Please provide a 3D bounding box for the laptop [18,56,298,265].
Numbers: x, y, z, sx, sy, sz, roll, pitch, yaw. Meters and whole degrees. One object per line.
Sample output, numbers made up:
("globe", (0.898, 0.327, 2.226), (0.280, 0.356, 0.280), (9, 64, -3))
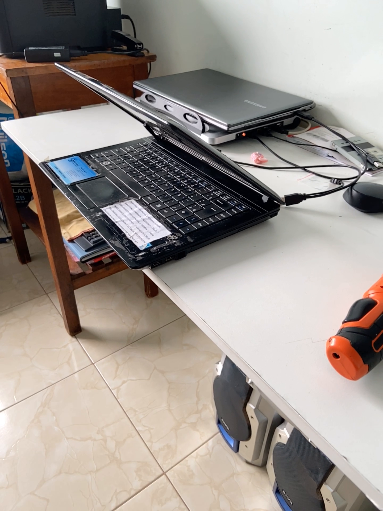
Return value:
("laptop", (-0.066, -0.167, 0.555), (0.228, 0.144, 0.336), (-21, 41, -28))
